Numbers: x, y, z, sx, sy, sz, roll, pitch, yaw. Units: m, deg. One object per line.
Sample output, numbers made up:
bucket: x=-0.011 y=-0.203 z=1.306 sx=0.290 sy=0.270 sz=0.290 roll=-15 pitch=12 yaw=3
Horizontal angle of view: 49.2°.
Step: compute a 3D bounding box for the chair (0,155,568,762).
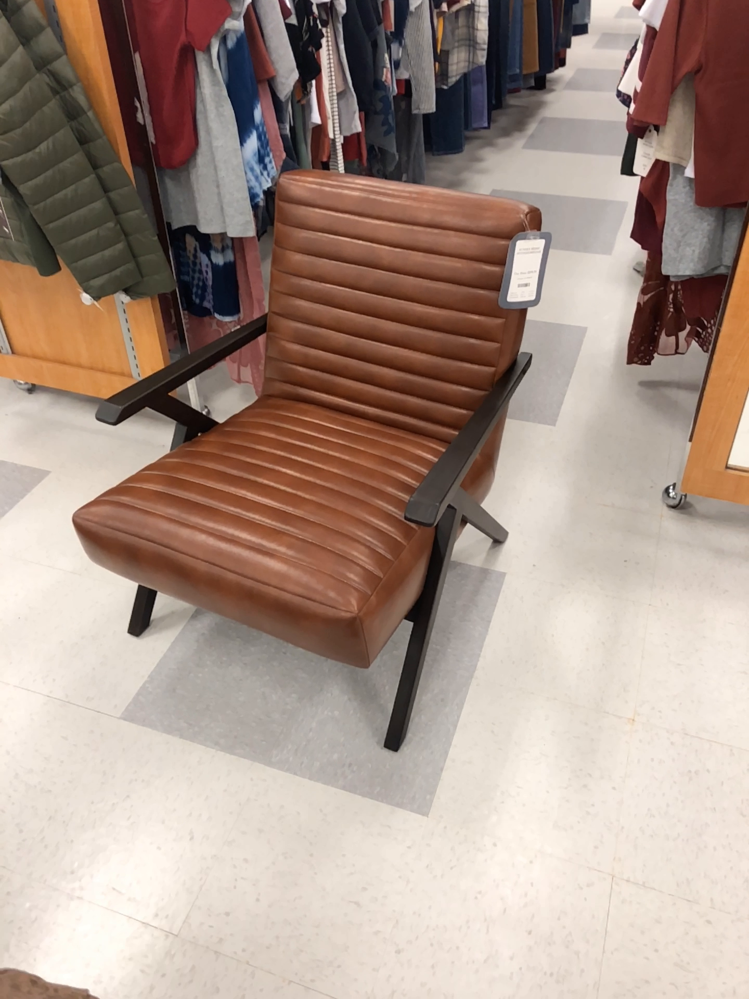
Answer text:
chair: x=-0.111 y=-0.124 z=1.551 sx=0.676 sy=0.756 sz=0.680 roll=17 pitch=43 yaw=23
